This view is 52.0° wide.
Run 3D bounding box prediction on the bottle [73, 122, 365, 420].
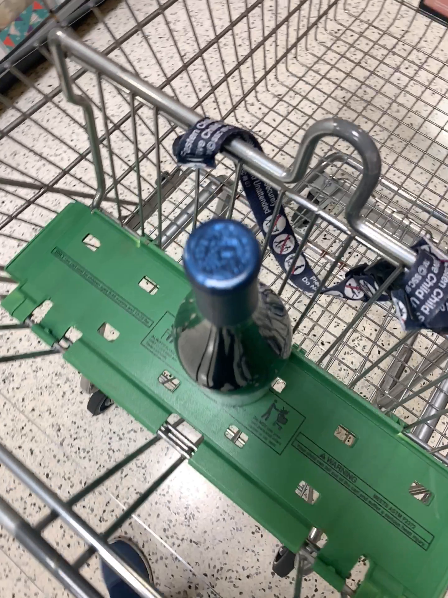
[{"bbox_3d":[0.006,0.021,0.294,0.080,0.288,0.075,-1,73,2],"label":"bottle"}]
